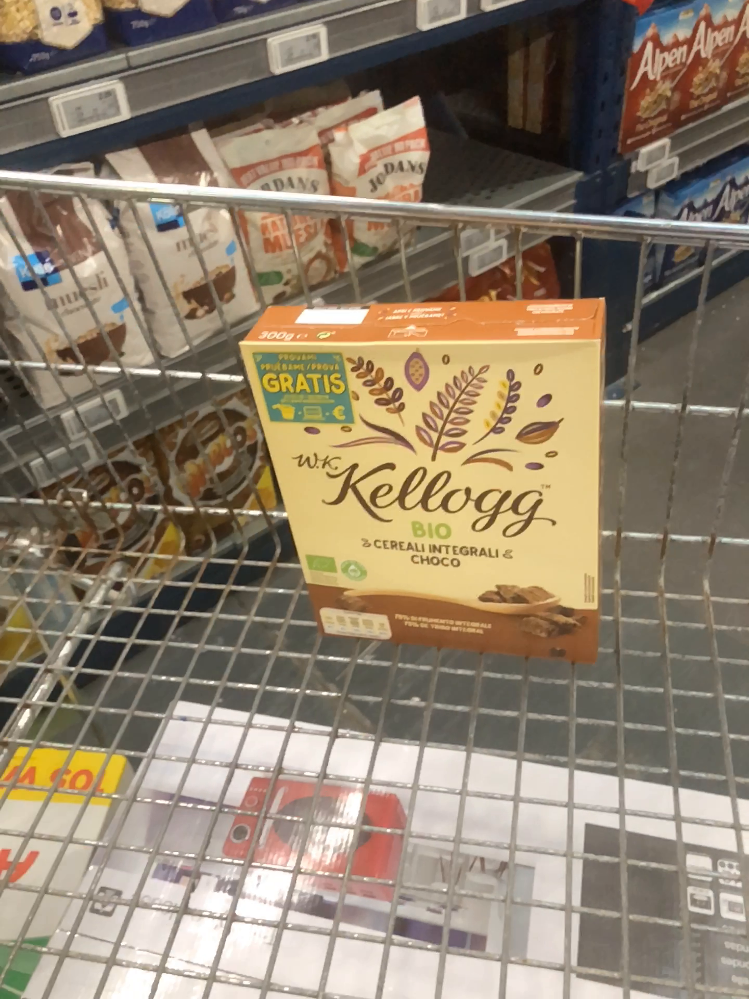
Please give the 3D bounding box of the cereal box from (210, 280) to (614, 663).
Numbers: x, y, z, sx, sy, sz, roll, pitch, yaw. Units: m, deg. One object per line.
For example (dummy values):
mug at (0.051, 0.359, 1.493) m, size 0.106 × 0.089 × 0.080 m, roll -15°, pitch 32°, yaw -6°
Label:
cereal box at (0.034, -0.009, 0.490) m, size 0.200 × 0.219 × 0.060 m, roll 2°, pitch 38°, yaw 17°
